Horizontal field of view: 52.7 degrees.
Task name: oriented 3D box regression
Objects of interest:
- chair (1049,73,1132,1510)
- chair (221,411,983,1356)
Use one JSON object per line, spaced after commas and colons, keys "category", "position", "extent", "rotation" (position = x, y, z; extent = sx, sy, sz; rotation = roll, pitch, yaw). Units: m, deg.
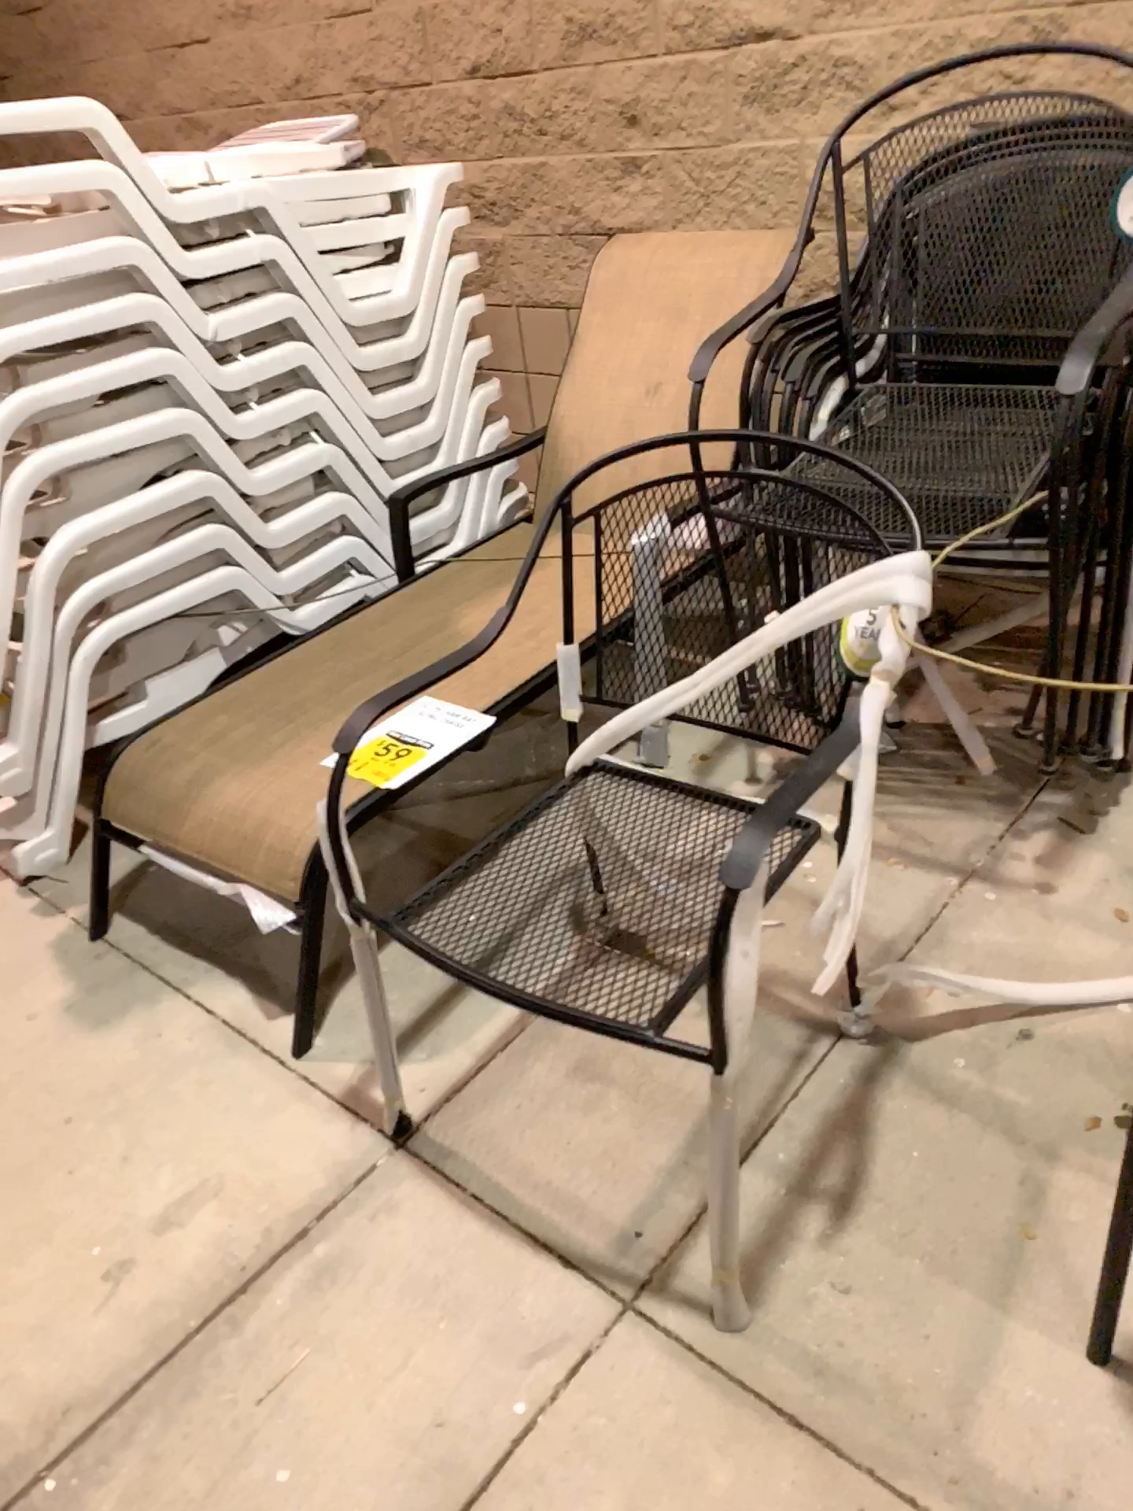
{"category": "chair", "position": [0.943, 0.097, 1.027], "extent": [0.635, 1.128, 0.710], "rotation": [18, 38, 36]}
{"category": "chair", "position": [0.105, 0.099, 1.462], "extent": [0.575, 0.869, 0.640], "rotation": [15, 37, 33]}
